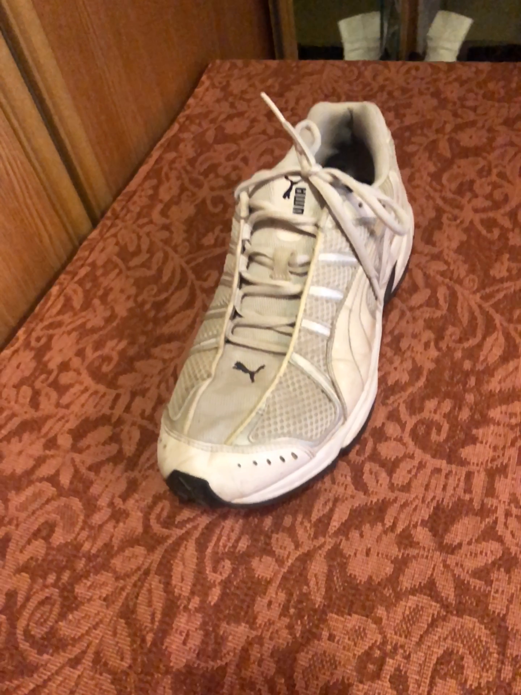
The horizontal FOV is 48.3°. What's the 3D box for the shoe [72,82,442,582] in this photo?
[{"bbox_3d":[0.027,-0.036,0.342,0.100,0.100,0.291,10,53,20],"label":"shoe"}]
